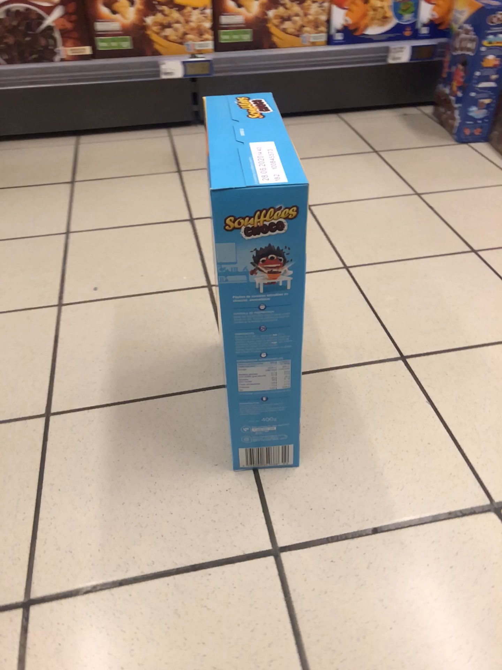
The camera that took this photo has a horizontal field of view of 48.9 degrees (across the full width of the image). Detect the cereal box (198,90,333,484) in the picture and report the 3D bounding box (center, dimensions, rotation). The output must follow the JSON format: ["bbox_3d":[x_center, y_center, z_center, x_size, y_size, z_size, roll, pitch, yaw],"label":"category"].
[{"bbox_3d":[0.004,-0.040,0.501,0.080,0.288,0.201,-4,39,-3],"label":"cereal box"}]
